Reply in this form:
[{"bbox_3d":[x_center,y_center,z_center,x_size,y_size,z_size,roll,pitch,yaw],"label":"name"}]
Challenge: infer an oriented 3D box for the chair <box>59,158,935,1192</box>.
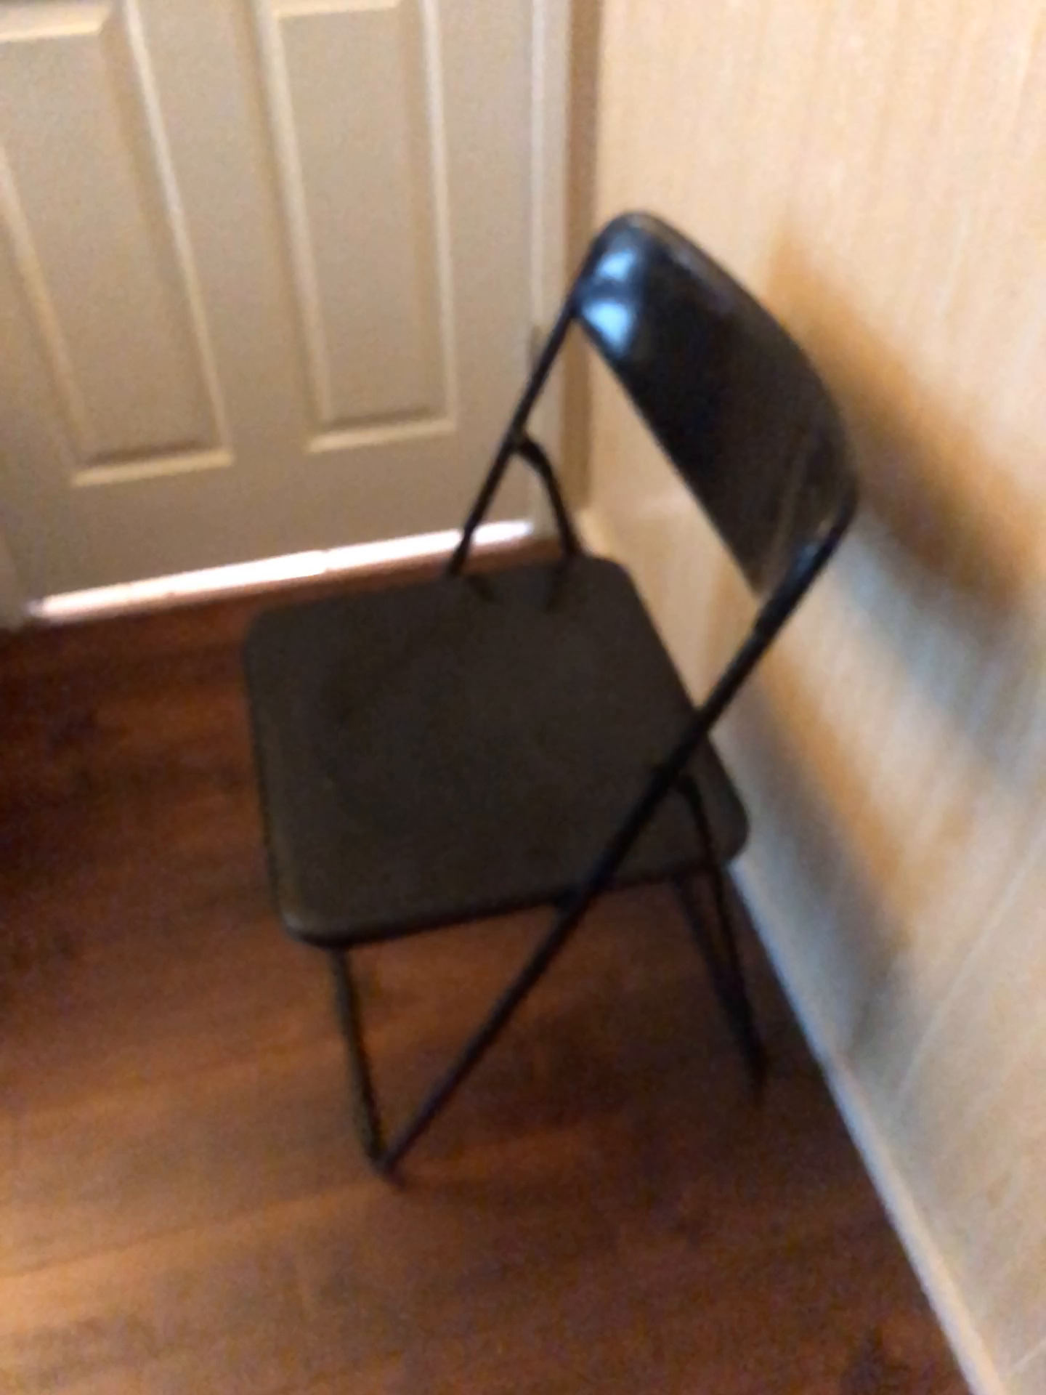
[{"bbox_3d":[-0.055,-0.002,1.017,0.470,0.666,0.493,-12,47,-9],"label":"chair"}]
